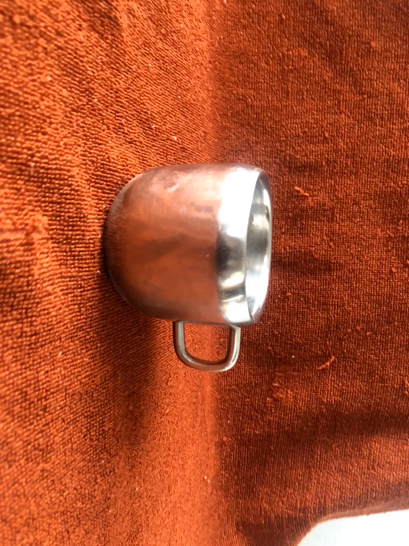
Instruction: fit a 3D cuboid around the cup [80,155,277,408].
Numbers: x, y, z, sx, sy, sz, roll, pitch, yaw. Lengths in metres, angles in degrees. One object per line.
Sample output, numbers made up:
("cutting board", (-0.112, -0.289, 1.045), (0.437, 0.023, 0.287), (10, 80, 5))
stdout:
("cup", (-0.003, 0.001, 0.202), (0.060, 0.060, 0.090), (-59, 148, -56))
